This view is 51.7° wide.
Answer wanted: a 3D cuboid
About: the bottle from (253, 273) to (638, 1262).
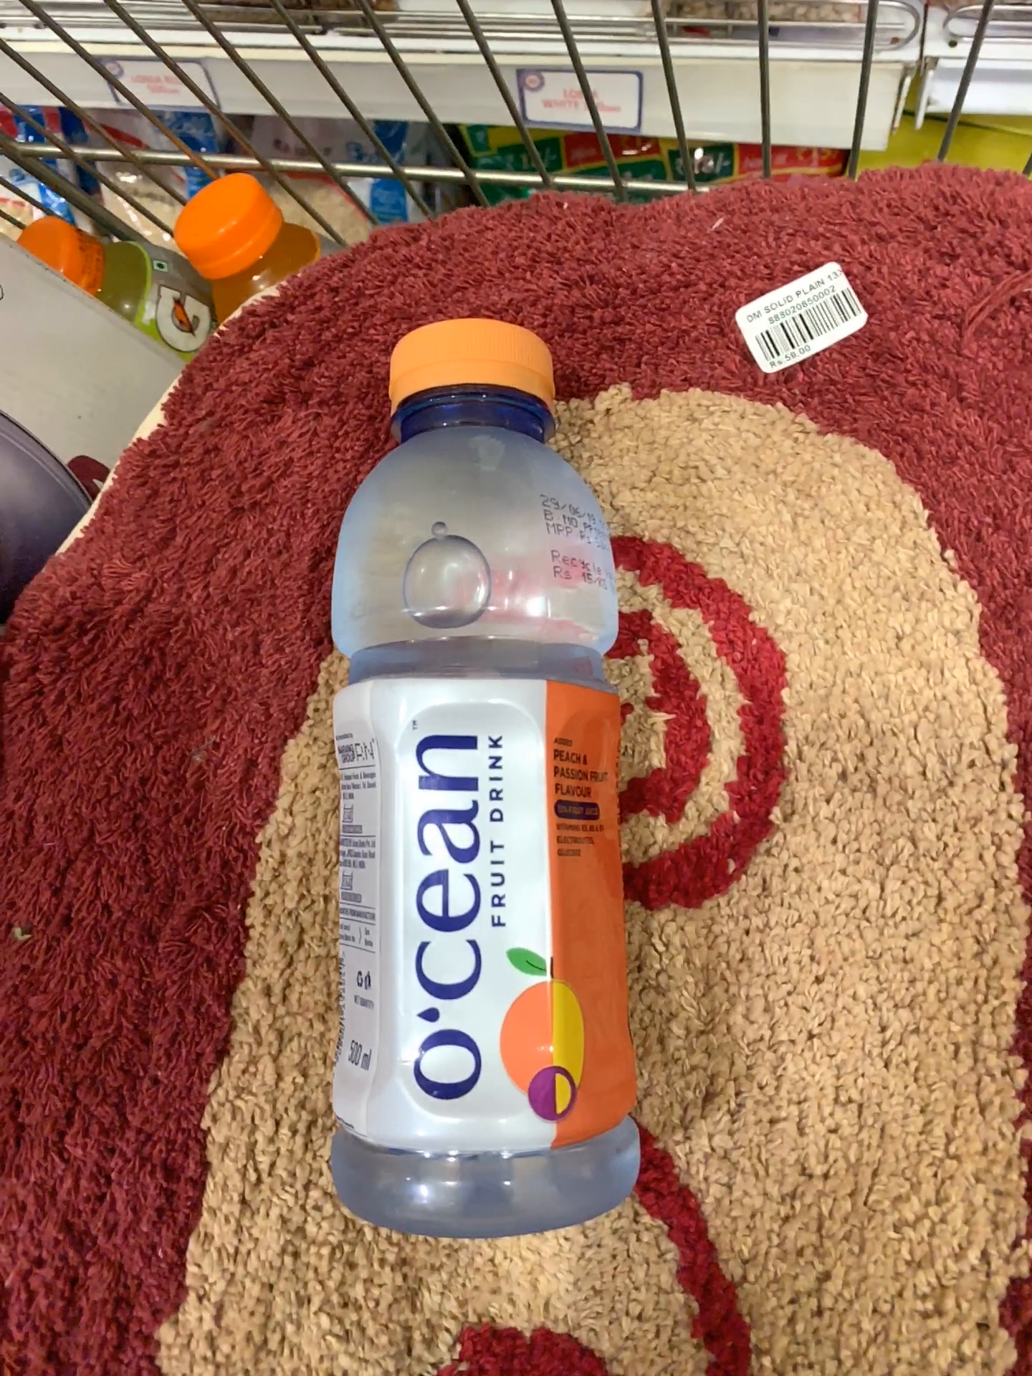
[{"bbox_3d":[-0.011,0.014,0.227,0.070,0.060,0.180,-1,87,4],"label":"bottle"}]
